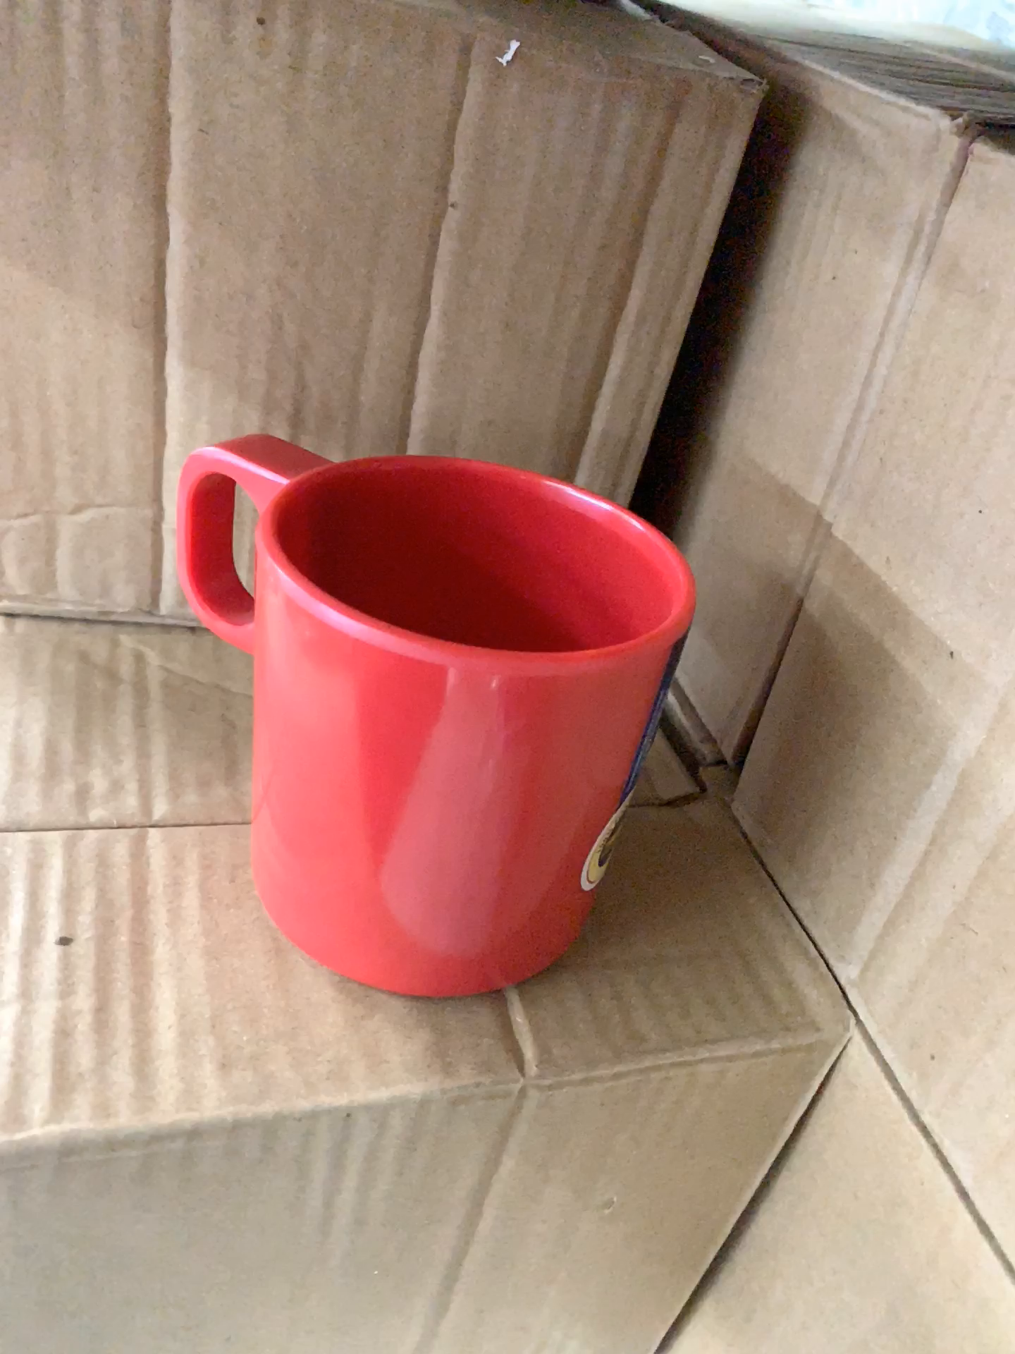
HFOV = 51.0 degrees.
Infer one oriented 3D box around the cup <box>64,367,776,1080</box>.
[{"bbox_3d":[-0.021,0.000,0.199,0.104,0.073,0.066,32,39,27],"label":"cup"}]
